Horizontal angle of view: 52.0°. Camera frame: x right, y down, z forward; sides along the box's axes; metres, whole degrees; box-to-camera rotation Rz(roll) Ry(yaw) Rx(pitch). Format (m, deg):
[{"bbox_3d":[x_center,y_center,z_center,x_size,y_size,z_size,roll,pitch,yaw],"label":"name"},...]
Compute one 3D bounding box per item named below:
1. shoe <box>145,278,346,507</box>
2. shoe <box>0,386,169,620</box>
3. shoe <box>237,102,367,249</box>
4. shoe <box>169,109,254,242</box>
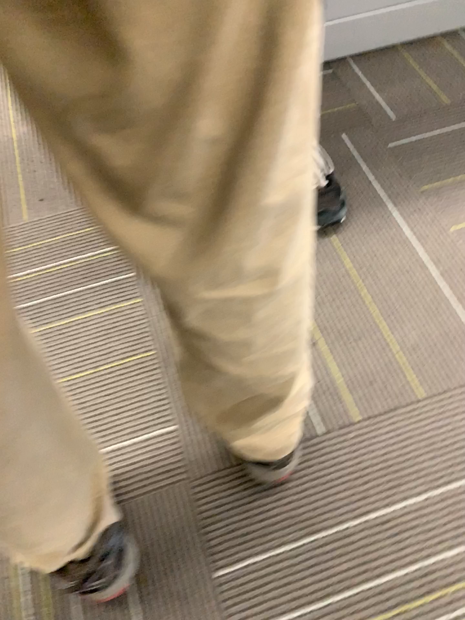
[{"bbox_3d":[0.009,0.116,0.746,0.134,0.087,0.328,-32,62,-15],"label":"shoe"},{"bbox_3d":[-0.246,0.276,0.686,0.130,0.087,0.316,-39,64,-18],"label":"shoe"},{"bbox_3d":[0.134,-0.289,0.998,0.131,0.087,0.317,-21,60,-9],"label":"shoe"},{"bbox_3d":[-0.048,-0.286,0.994,0.138,0.085,0.280,-8,59,-1],"label":"shoe"}]
